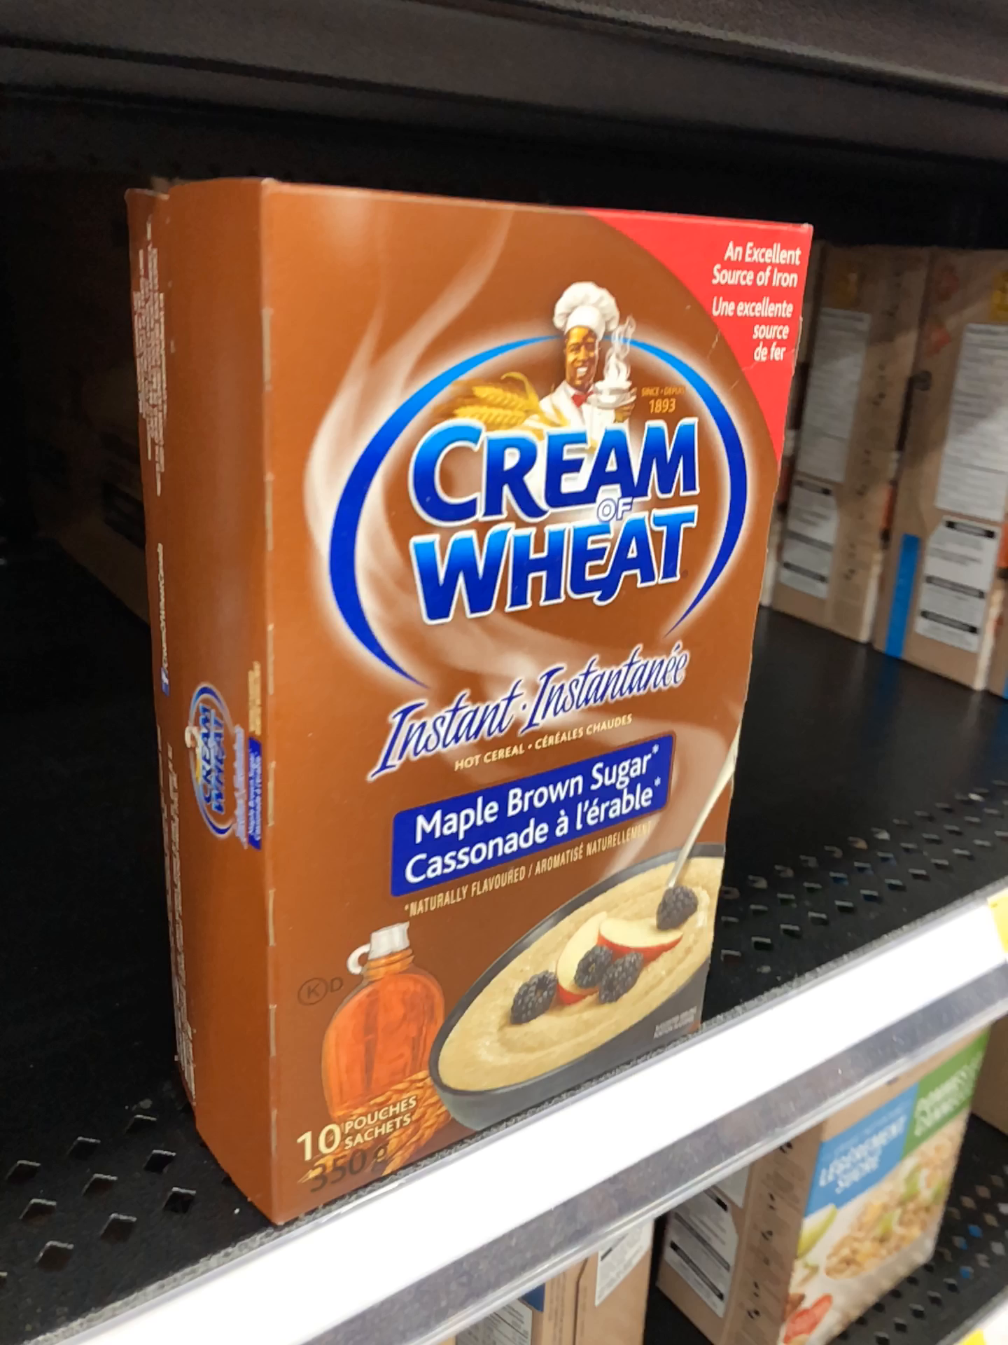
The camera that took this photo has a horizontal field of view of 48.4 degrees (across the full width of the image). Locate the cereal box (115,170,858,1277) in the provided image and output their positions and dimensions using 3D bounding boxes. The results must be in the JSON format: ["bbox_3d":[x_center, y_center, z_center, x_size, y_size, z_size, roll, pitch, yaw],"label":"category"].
[{"bbox_3d":[-0.005,0.006,0.251,0.130,0.209,0.060,-12,26,-33],"label":"cereal box"}]
